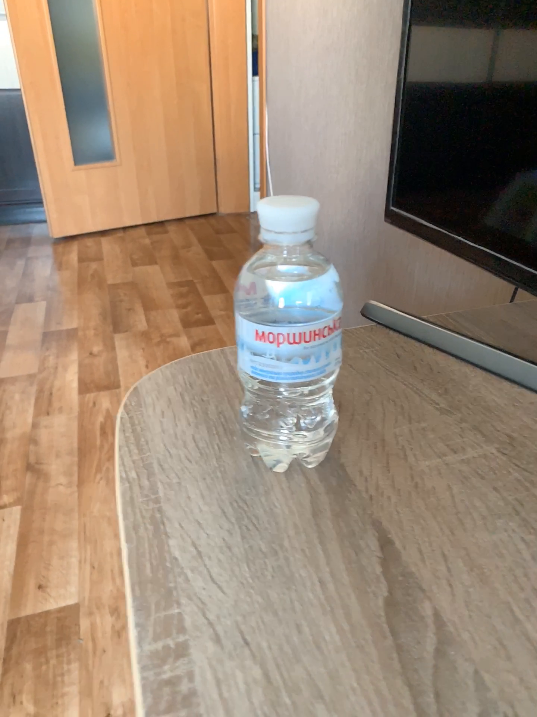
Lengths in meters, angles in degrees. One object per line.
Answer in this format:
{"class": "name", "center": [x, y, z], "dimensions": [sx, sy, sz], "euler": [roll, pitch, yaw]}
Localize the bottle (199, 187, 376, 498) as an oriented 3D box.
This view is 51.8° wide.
{"class": "bottle", "center": [0.006, -0.009, 0.306], "dimensions": [0.070, 0.149, 0.070], "euler": [0, 28, 0]}
